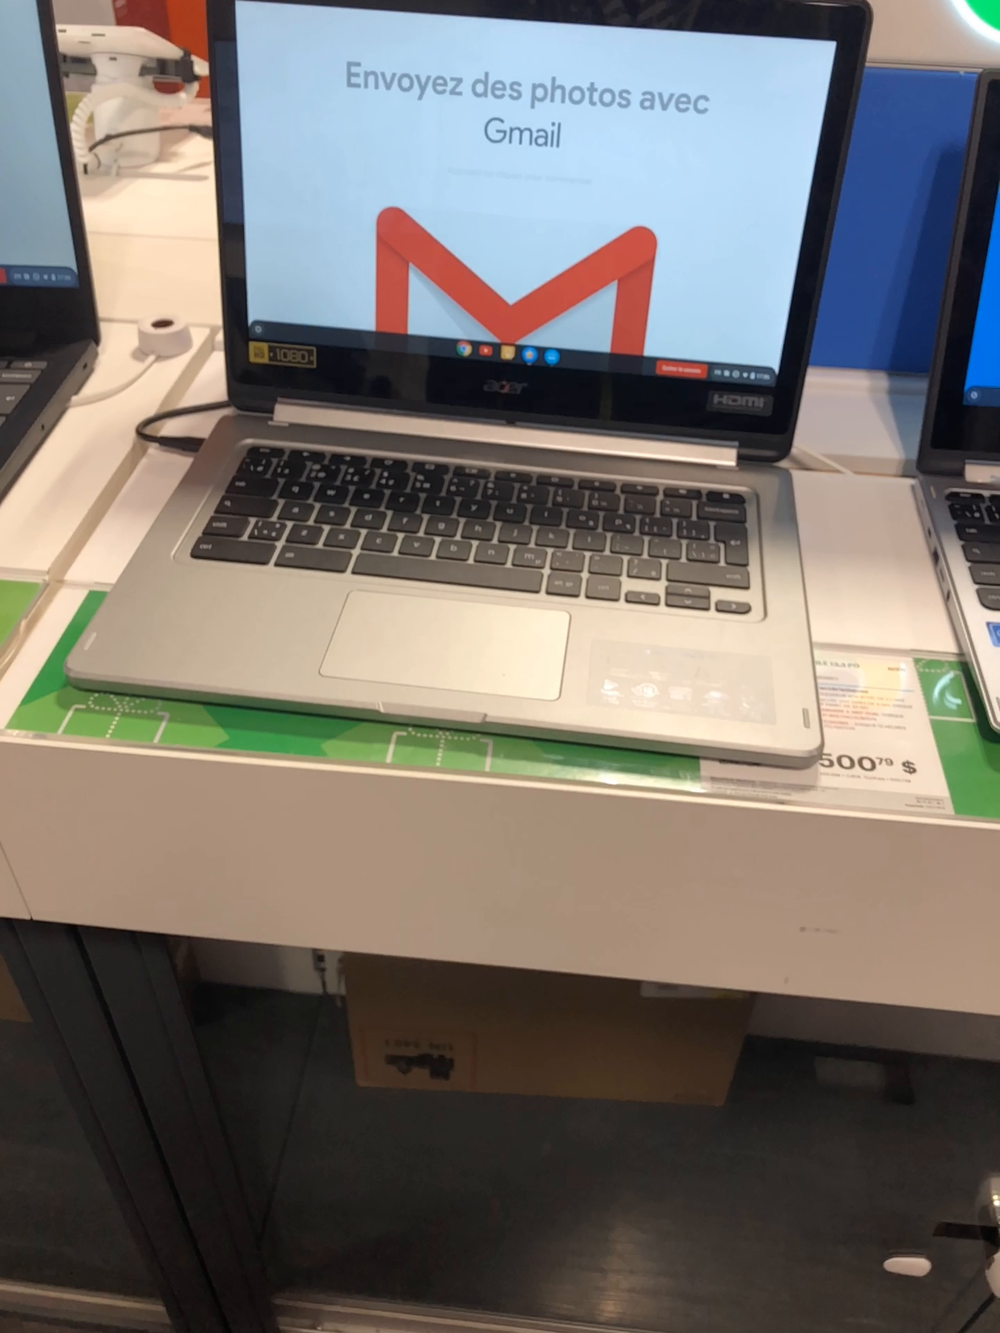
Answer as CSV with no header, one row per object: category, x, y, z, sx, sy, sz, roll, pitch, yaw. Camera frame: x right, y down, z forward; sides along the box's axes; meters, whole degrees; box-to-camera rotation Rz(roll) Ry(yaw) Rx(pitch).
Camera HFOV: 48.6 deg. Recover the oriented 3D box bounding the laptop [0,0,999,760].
laptop,-0.012,-0.140,0.480,0.317,0.226,0.240,6,40,5
